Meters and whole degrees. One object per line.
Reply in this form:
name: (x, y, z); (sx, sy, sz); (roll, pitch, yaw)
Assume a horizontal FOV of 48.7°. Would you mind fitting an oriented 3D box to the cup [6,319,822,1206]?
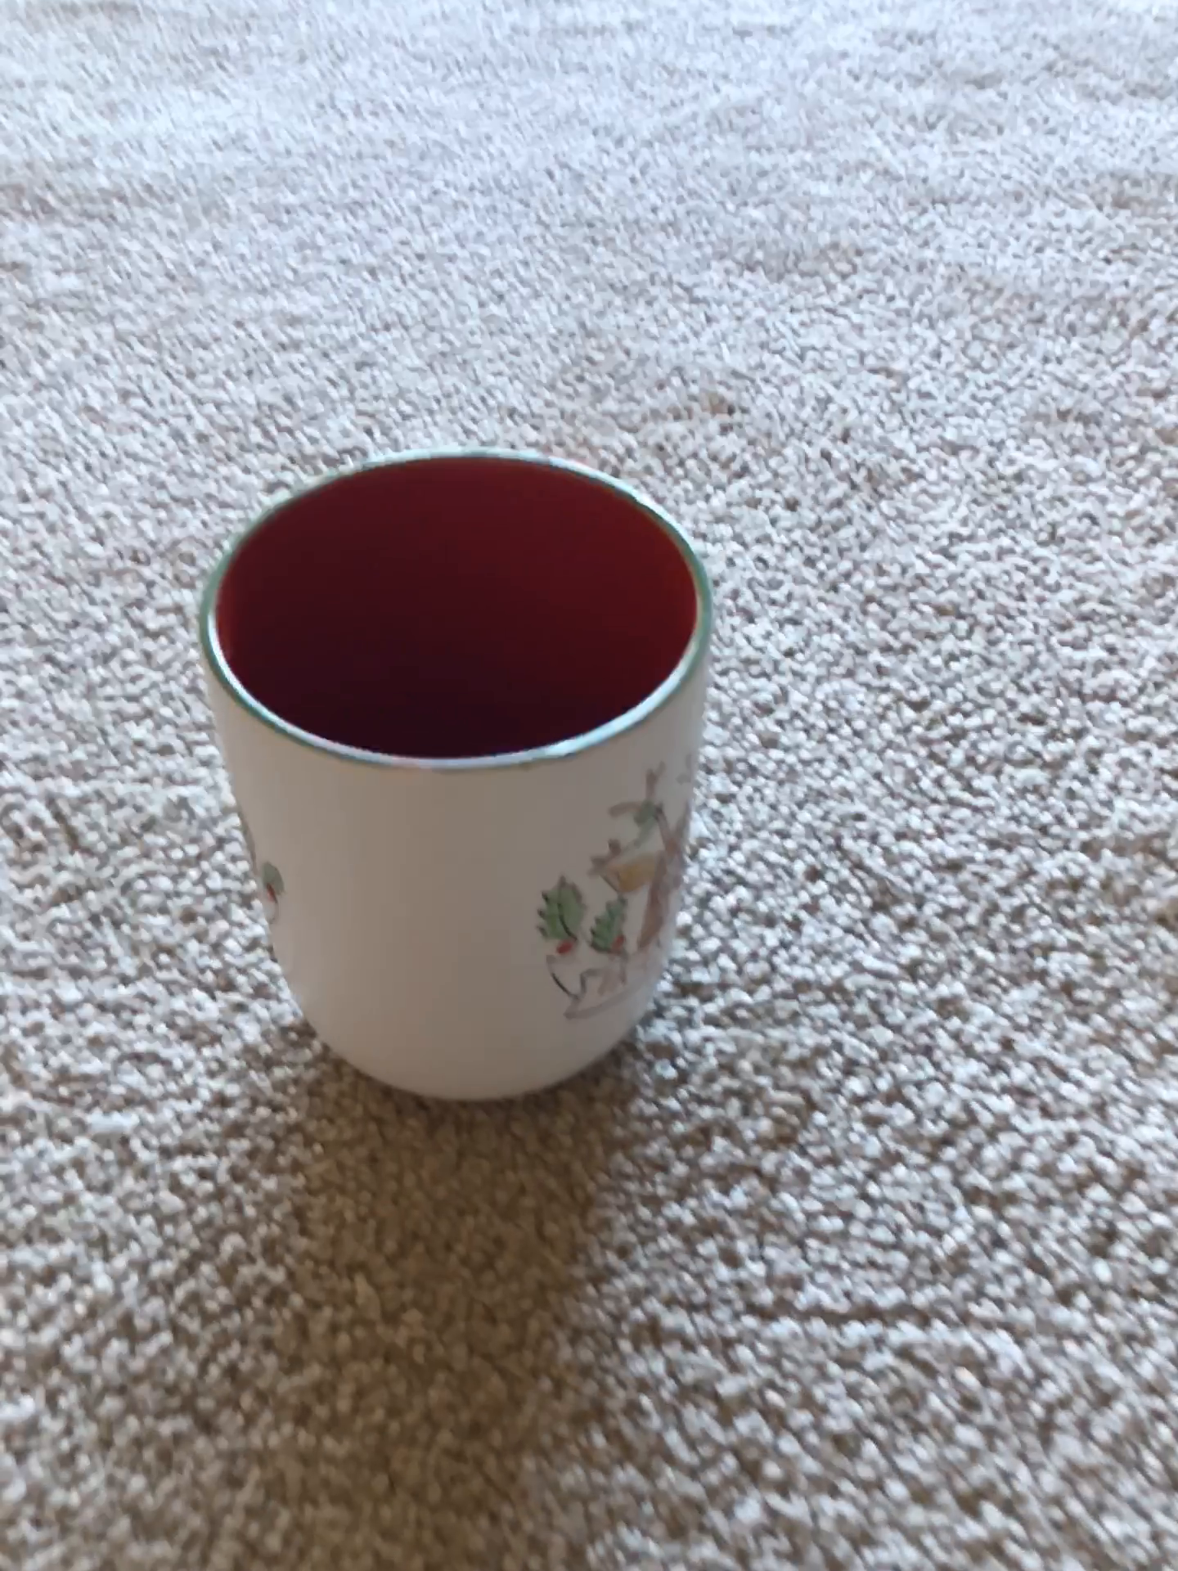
cup: (-0.020, -0.012, 0.264); (0.100, 0.090, 0.141); (12, 48, 11)
